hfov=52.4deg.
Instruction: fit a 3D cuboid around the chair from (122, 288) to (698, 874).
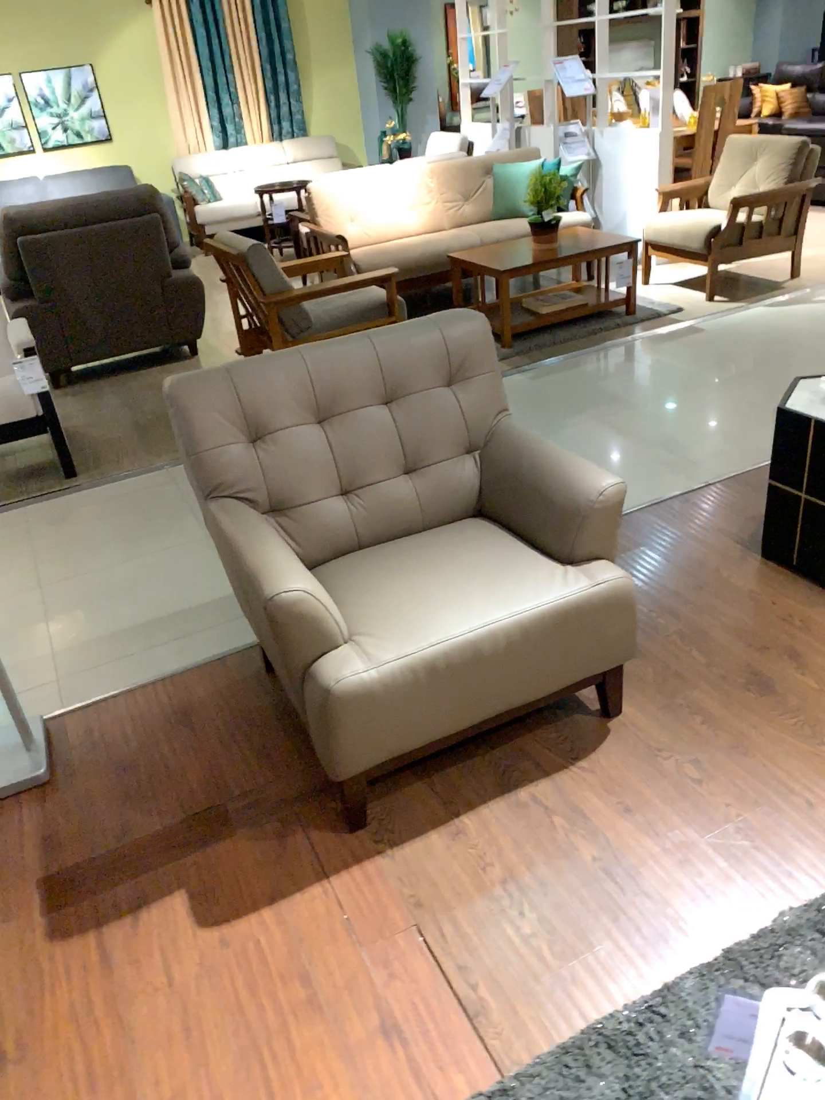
[{"bbox_3d":[-0.043,-0.048,2.089,0.950,0.856,1.004,-19,31,-20],"label":"chair"}]
